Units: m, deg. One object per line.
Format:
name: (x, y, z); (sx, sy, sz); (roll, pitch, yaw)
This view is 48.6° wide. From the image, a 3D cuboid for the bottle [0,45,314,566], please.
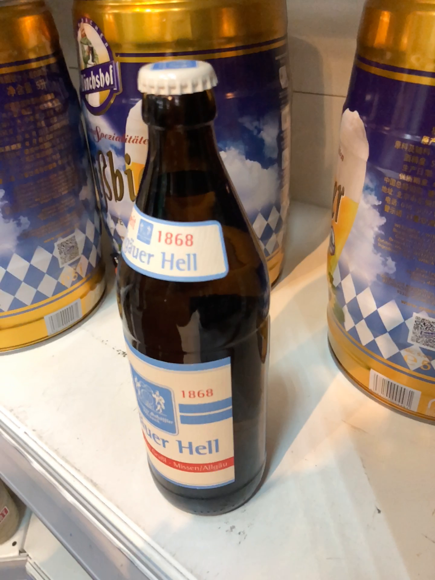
bottle: (-0.016, 0.014, 0.225); (0.080, 0.219, 0.080); (-3, 33, 2)
